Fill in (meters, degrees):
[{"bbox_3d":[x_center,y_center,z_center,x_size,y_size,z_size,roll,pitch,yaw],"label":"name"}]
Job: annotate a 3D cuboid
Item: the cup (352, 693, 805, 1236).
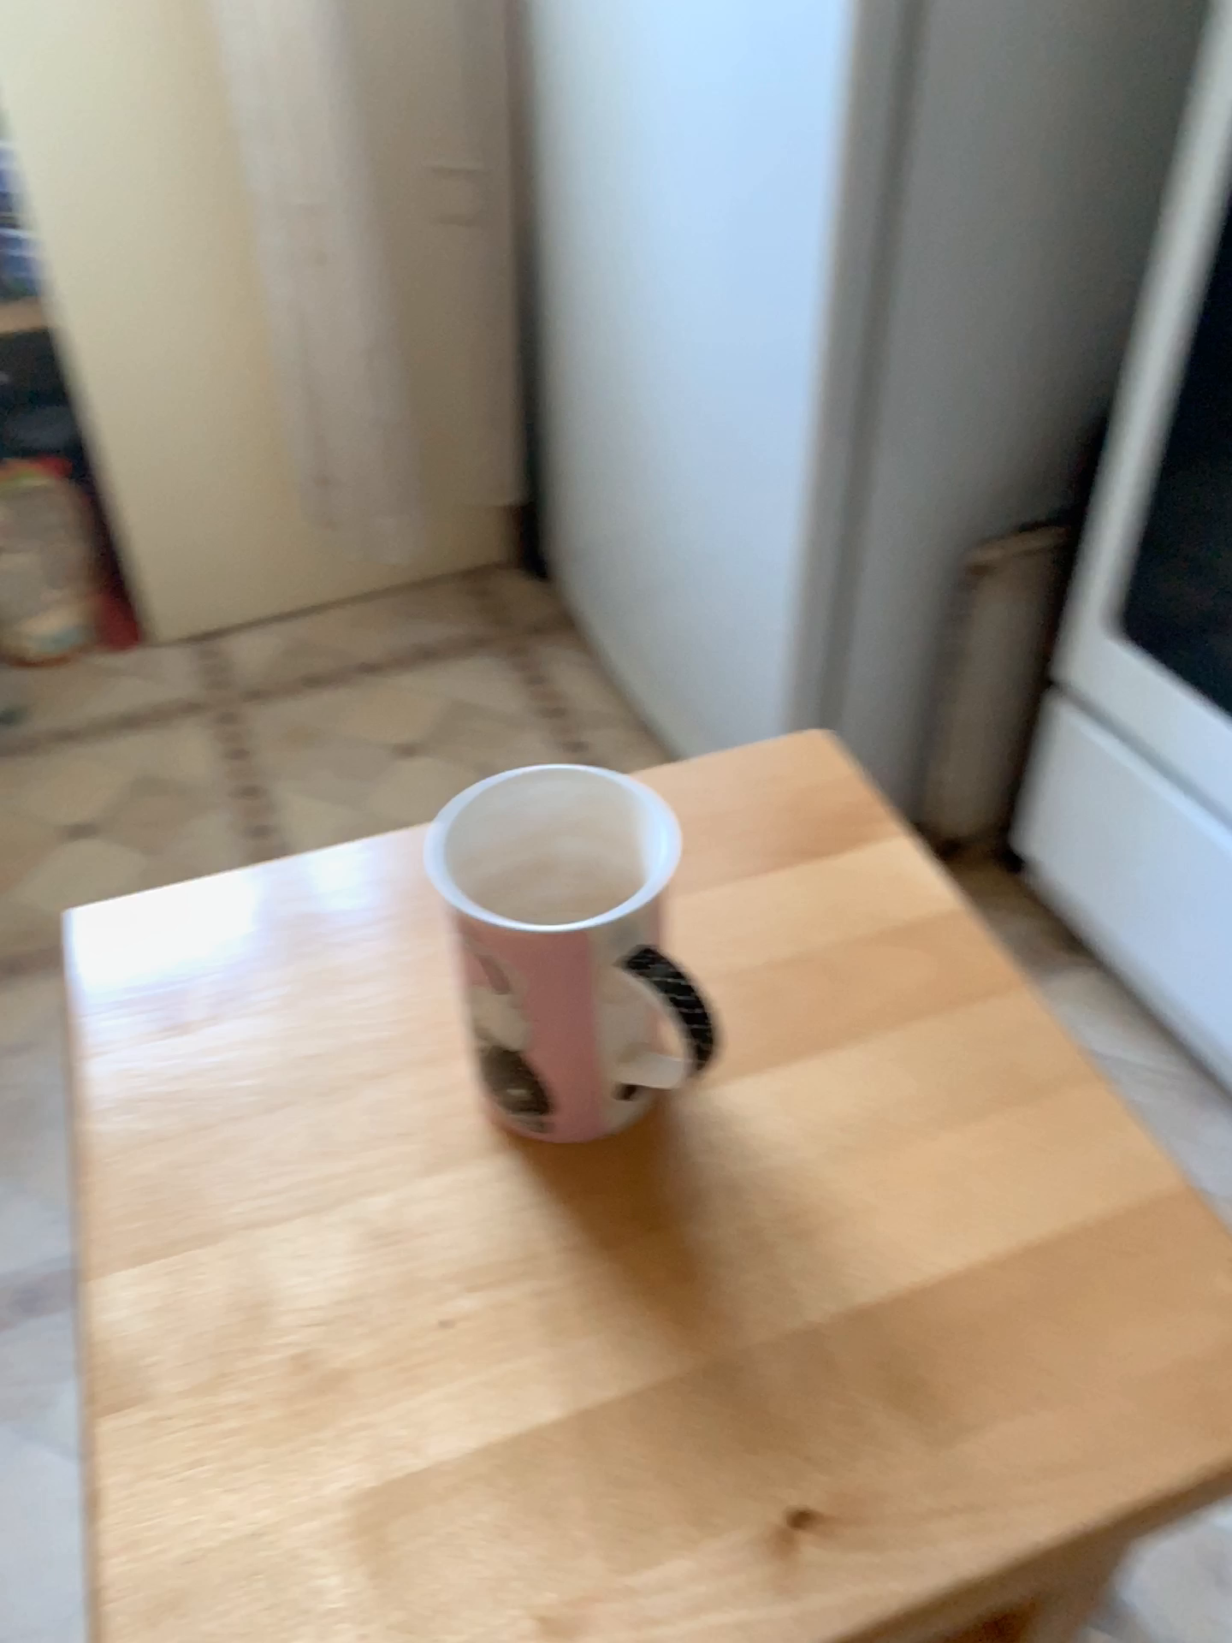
[{"bbox_3d":[-0.012,0.042,0.406,0.074,0.107,0.114,-33,49,-31],"label":"cup"}]
